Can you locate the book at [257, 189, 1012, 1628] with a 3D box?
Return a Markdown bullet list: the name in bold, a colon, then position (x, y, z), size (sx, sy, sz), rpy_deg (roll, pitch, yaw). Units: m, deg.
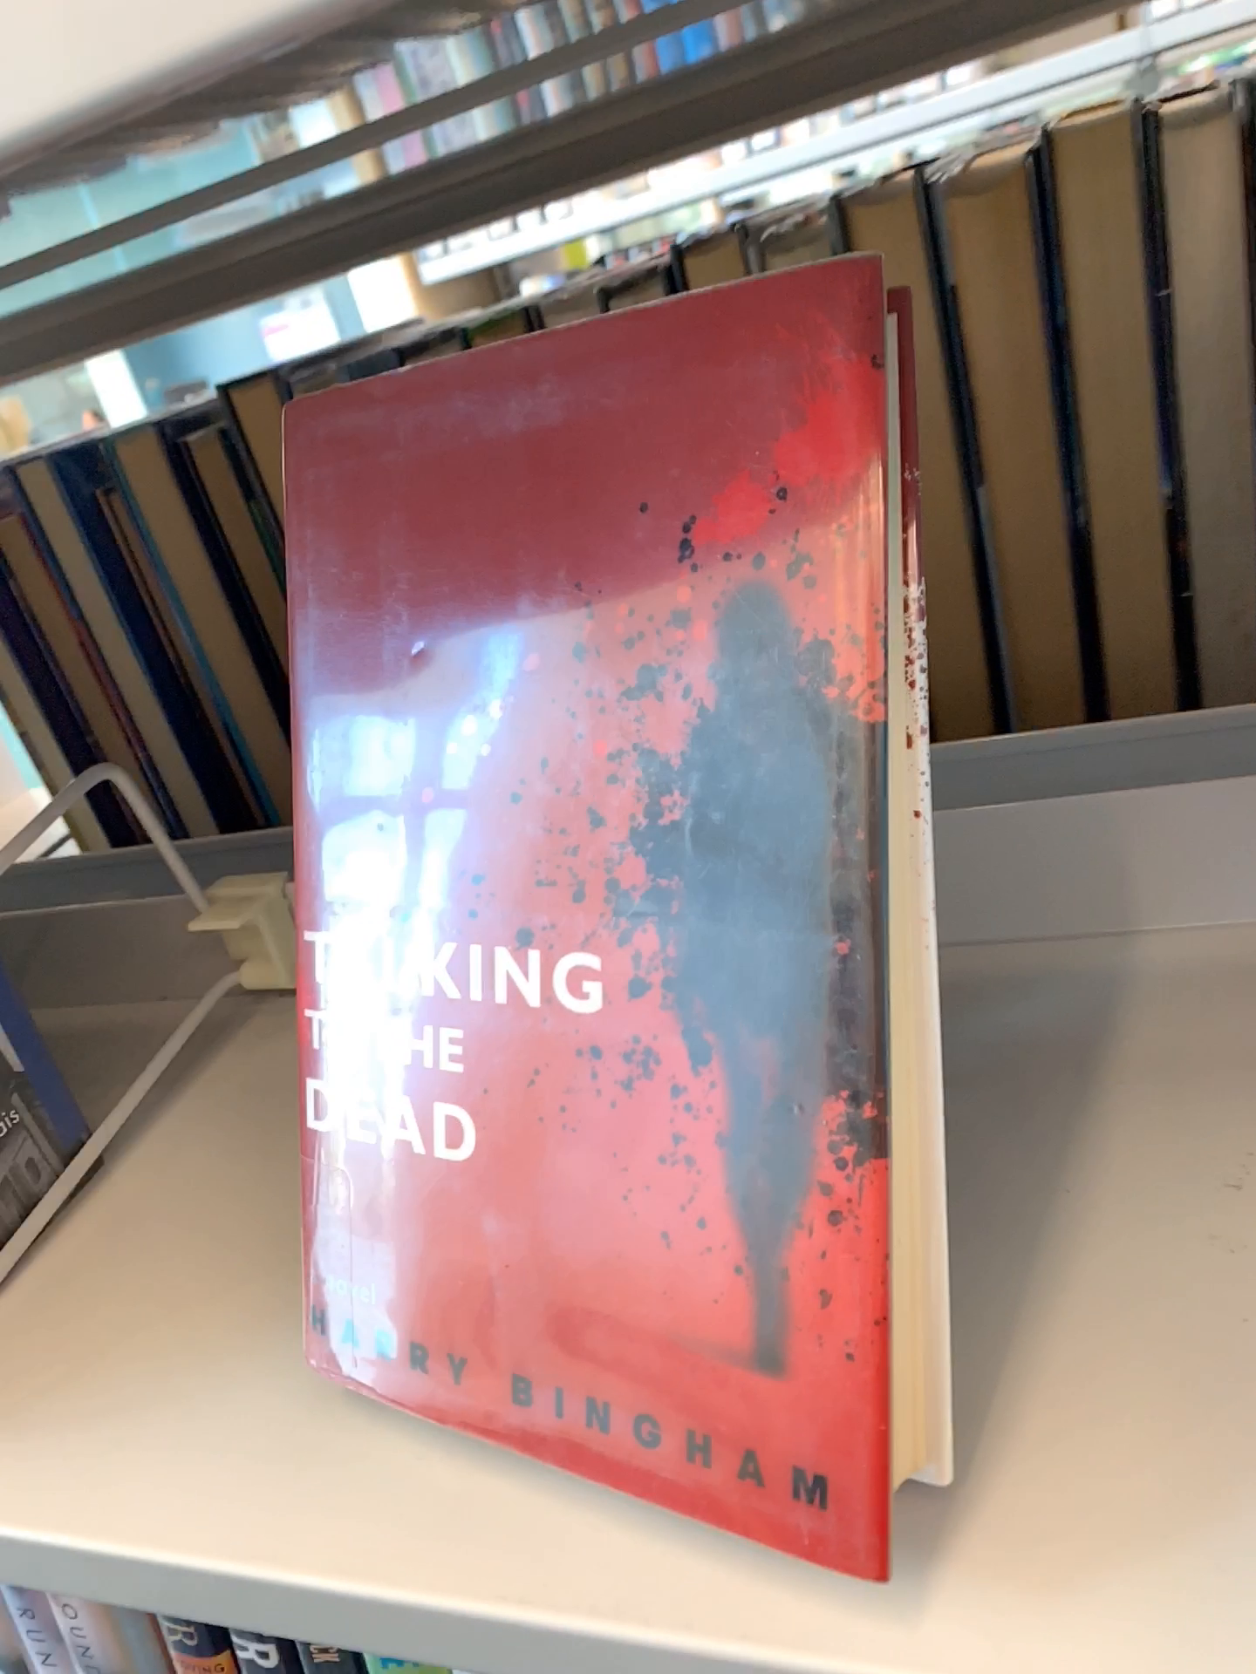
- **book**: position (-0.008, 0.011, 0.274), size (0.164, 0.231, 0.040), rpy_deg (0, 1, 36)
